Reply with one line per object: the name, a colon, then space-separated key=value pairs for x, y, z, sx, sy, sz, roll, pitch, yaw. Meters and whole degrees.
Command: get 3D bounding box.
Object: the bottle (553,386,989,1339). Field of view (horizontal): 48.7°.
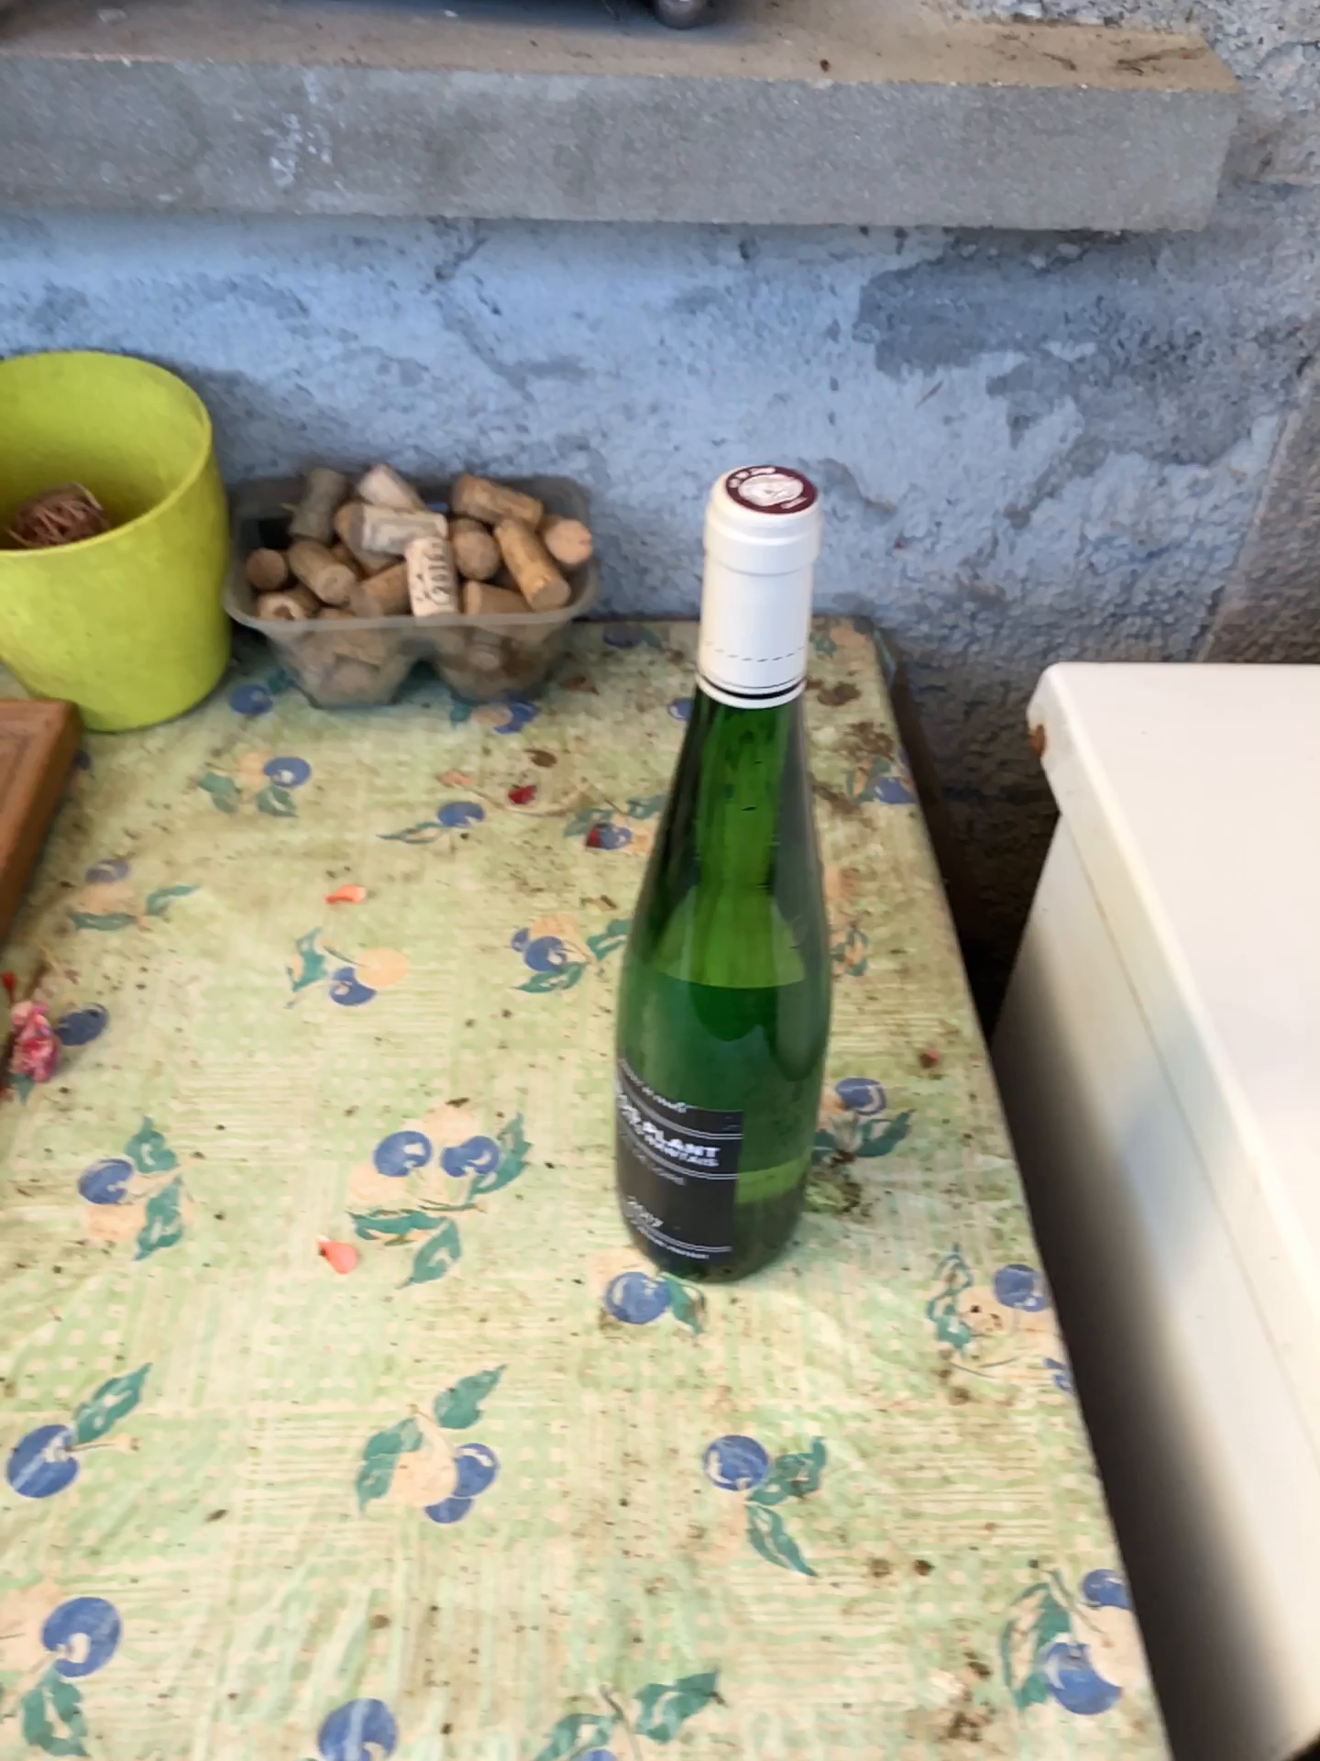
bottle: x=0.022 y=0.019 z=0.494 sx=0.080 sy=0.338 sz=0.080 roll=2 pitch=44 yaw=-2
